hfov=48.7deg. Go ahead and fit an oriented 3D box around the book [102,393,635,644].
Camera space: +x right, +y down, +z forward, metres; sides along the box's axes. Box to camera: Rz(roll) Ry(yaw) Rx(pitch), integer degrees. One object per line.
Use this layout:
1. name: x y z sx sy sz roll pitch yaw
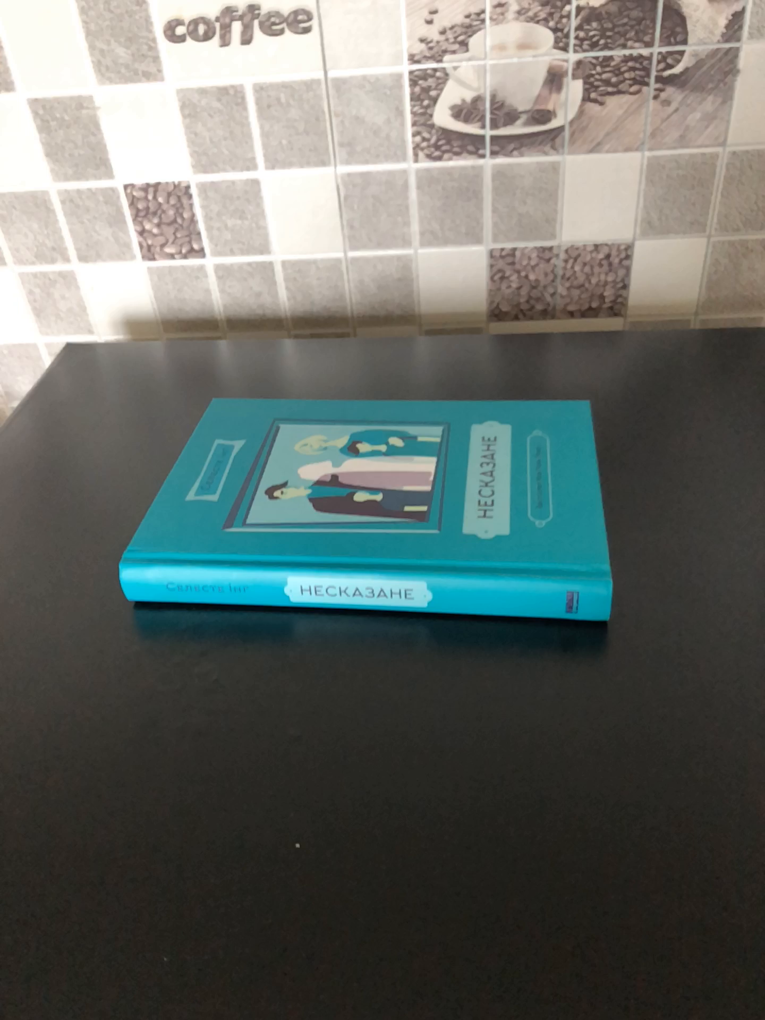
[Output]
1. book: 0.000 -0.006 0.413 0.220 0.030 0.152 1 38 8
